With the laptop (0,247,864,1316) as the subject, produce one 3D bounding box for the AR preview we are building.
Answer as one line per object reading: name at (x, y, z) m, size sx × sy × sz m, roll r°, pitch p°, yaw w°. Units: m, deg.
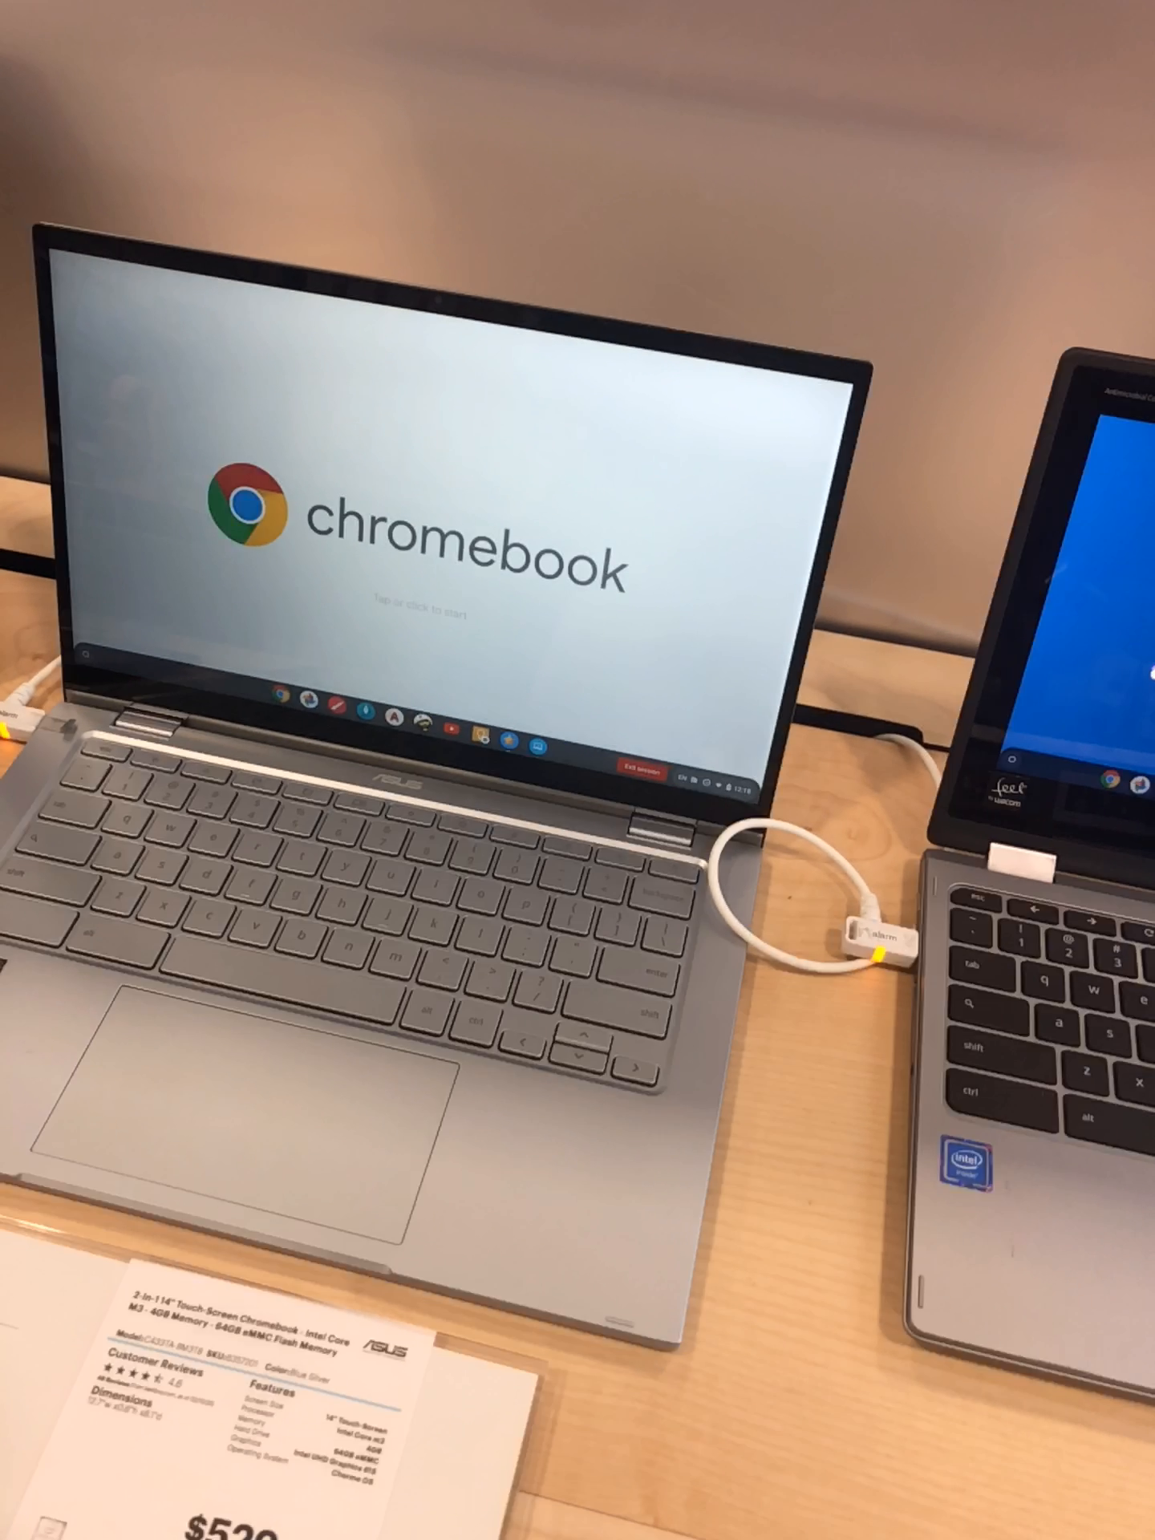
laptop at (-0.086, -0.015, 0.438) m, size 0.309 × 0.174 × 0.283 m, roll 11°, pitch 47°, yaw 6°
